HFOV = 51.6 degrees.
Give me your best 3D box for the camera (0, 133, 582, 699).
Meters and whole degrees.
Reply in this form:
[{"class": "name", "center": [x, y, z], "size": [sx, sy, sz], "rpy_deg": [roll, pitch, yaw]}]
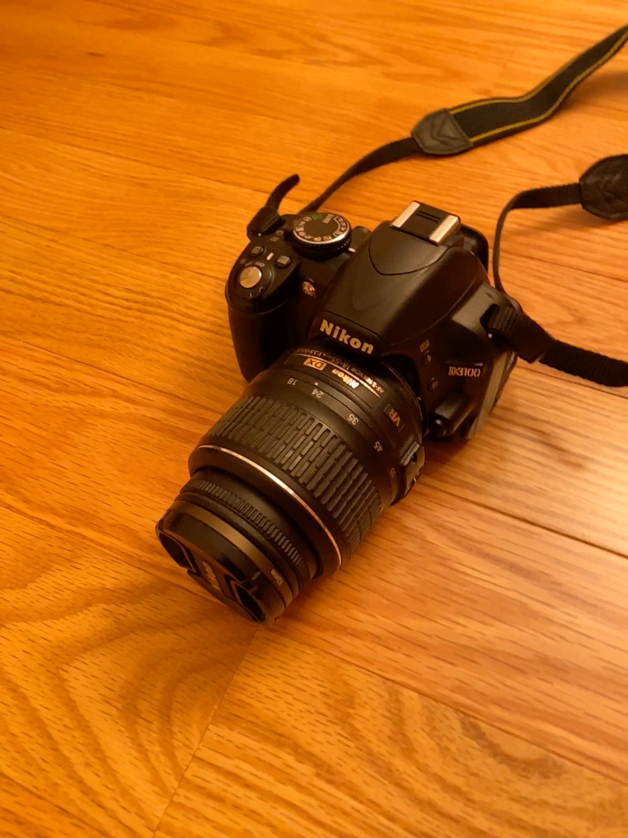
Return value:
[{"class": "camera", "center": [0.001, -0.011, 0.256], "size": [0.130, 0.099, 0.161], "rpy_deg": [26, 58, 20]}]
